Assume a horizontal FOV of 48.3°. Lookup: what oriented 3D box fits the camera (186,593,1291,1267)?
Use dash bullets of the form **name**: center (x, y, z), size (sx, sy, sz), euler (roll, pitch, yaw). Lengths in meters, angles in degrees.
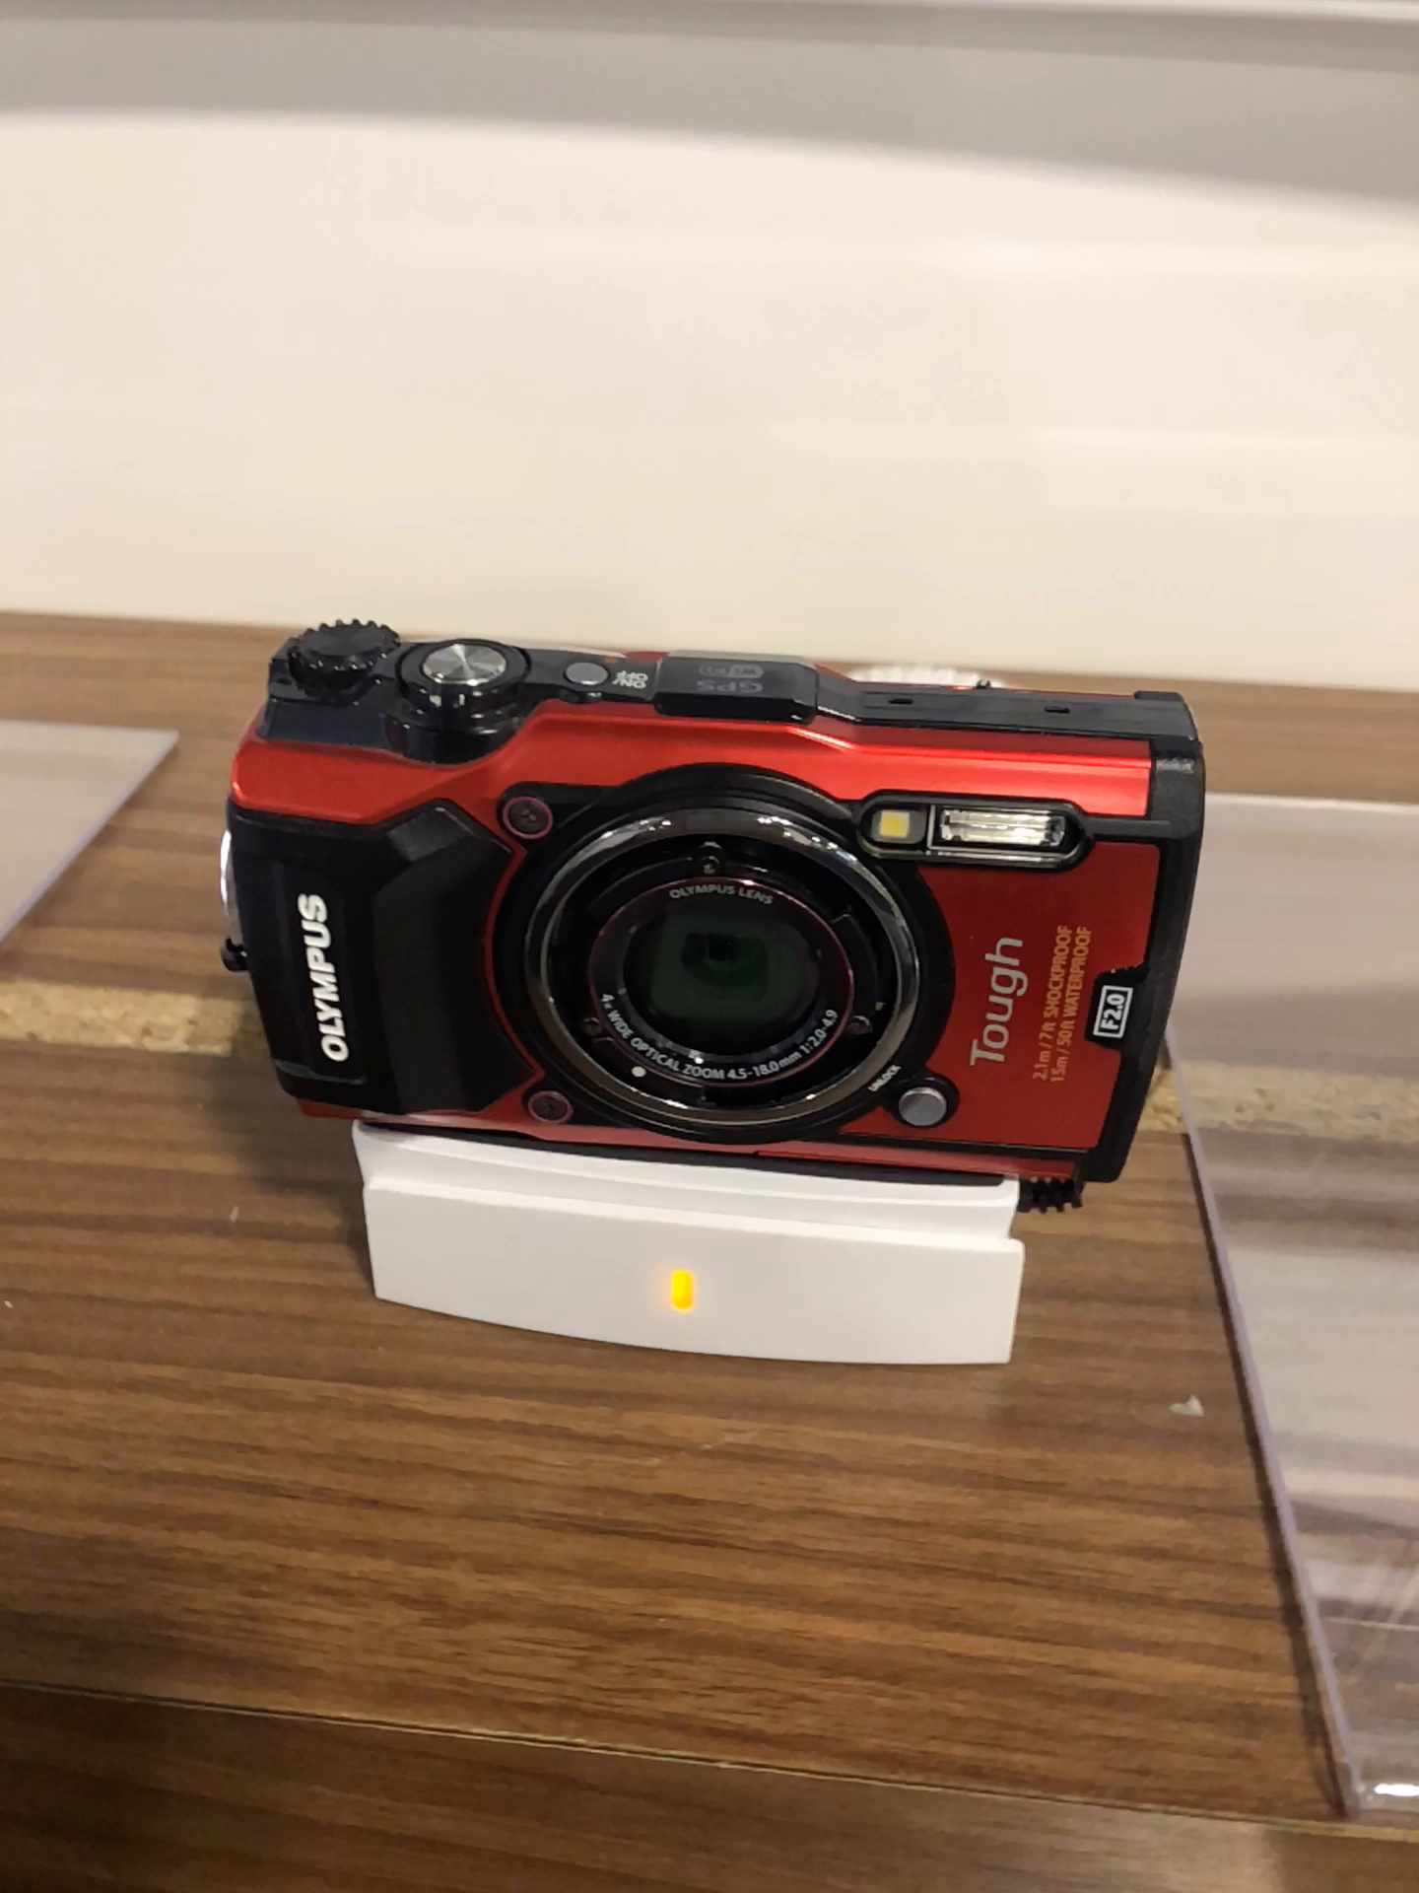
- **camera**: center (0.002, -0.002, 0.202), size (0.120, 0.070, 0.030), euler (5, 33, 6)
